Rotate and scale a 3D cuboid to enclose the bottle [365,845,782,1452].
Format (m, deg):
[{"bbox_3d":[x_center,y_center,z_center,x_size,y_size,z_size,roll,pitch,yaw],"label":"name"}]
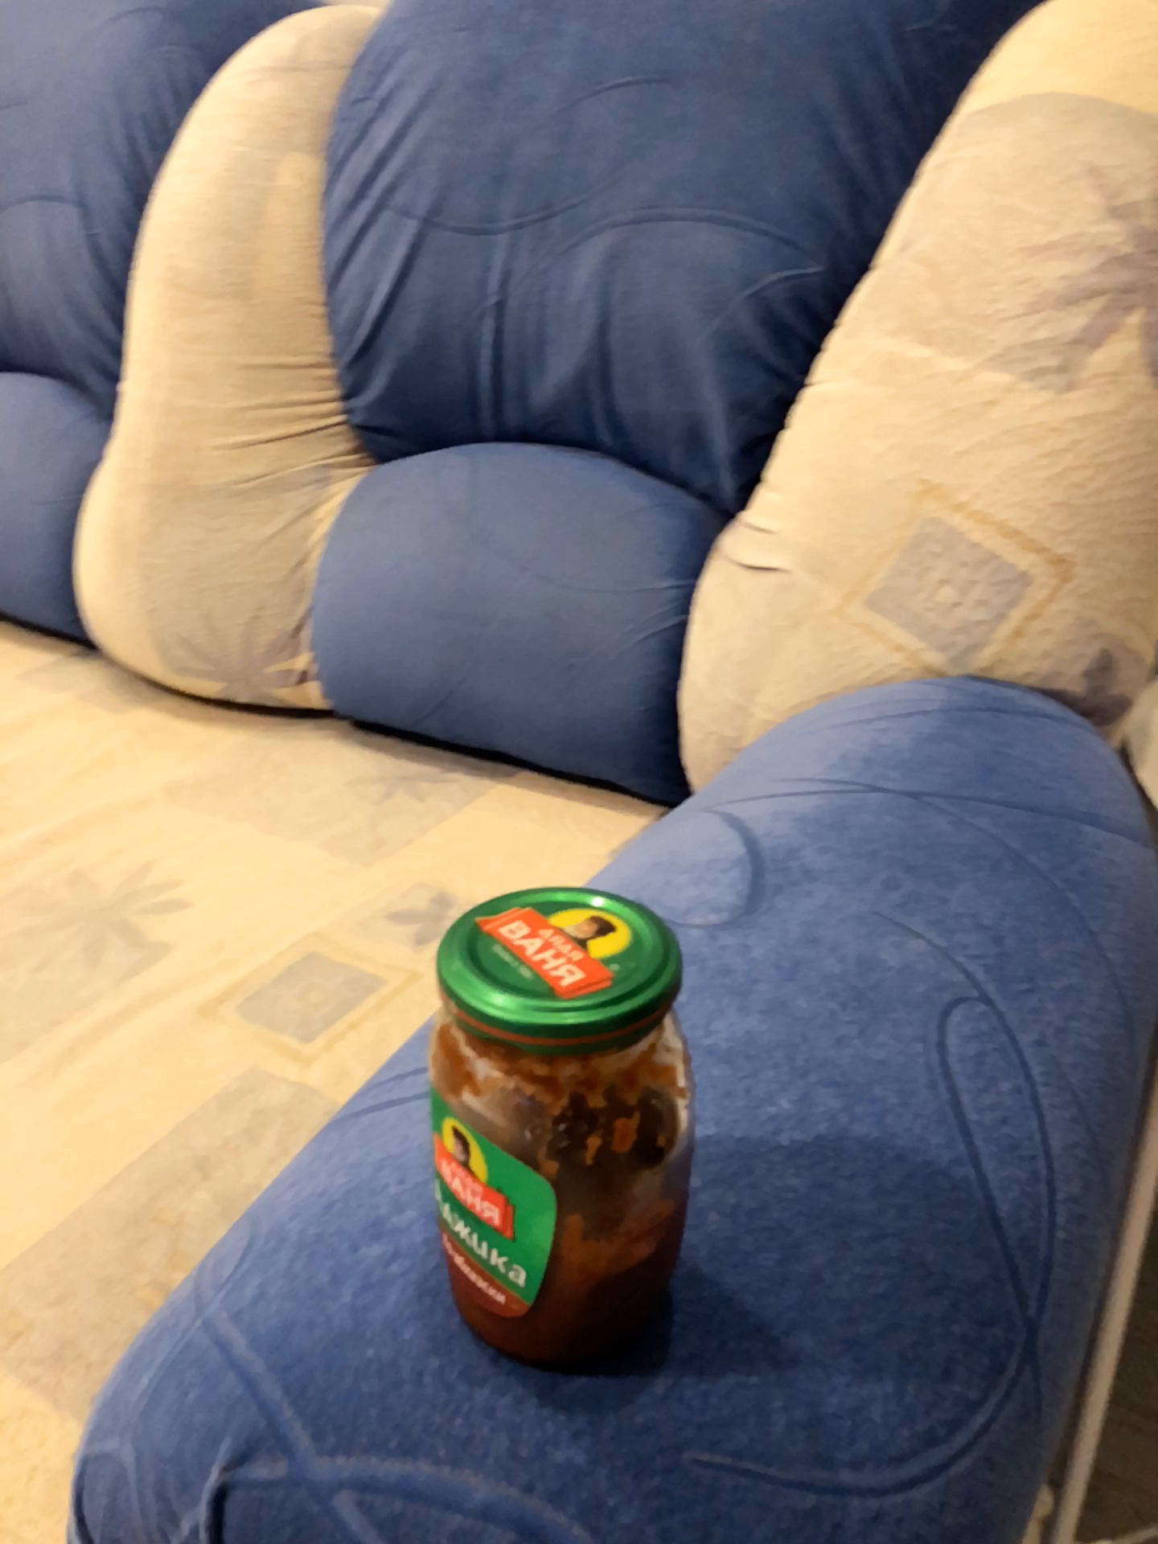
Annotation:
[{"bbox_3d":[-0.003,0.076,0.273,0.060,0.092,0.060,1,24,0],"label":"bottle"}]
